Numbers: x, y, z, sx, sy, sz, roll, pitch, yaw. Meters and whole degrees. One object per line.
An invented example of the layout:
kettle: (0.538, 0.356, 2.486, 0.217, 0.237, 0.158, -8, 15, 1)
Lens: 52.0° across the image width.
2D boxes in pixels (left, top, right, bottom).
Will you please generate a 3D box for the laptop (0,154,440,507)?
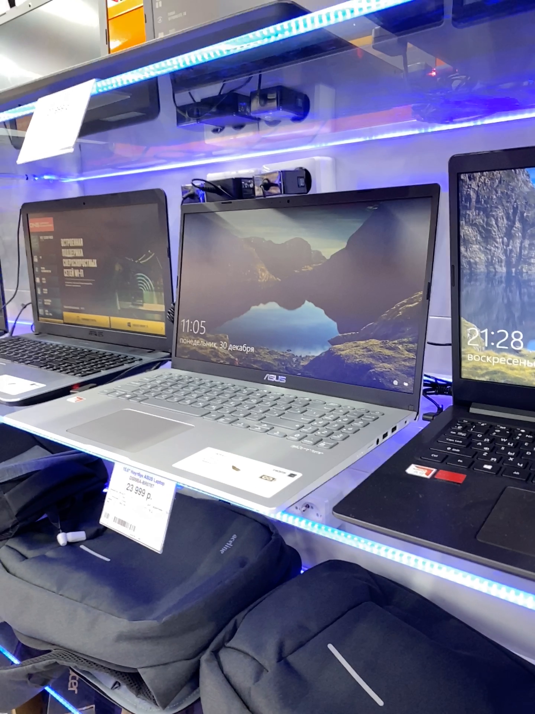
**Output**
laptop: (-0.060, -0.052, 0.551, 0.361, 0.217, 0.285, 7, 15, 38)
